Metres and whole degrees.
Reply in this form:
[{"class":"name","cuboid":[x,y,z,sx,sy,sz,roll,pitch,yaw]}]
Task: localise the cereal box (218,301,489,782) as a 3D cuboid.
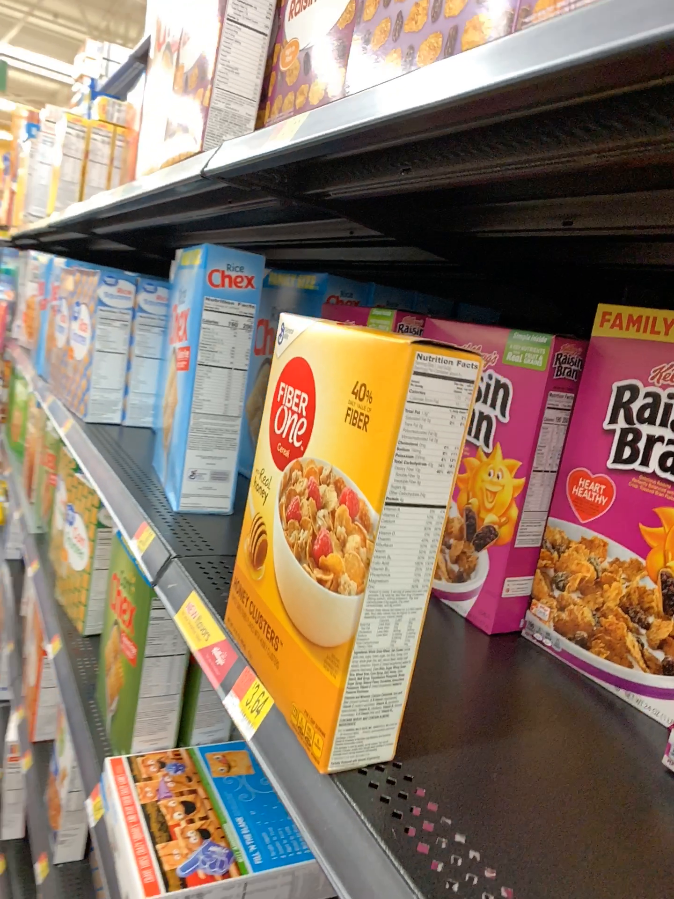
[{"class":"cereal box","cuboid":[-0.008,0.040,0.469,0.050,0.259,0.200,6,11,-28]}]
